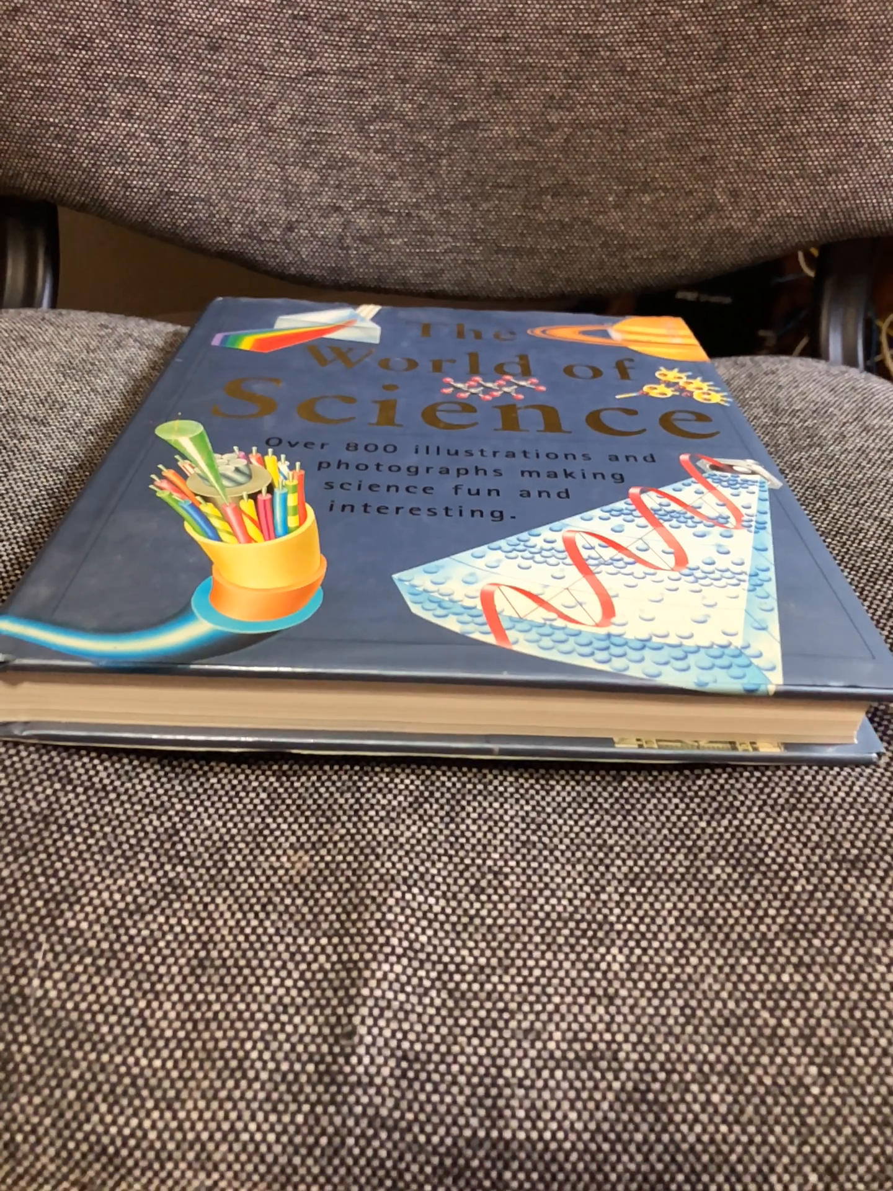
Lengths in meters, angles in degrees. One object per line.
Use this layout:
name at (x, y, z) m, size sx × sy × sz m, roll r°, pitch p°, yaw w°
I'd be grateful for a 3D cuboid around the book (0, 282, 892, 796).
book at (-0.003, -0.045, 0.342) m, size 0.220 × 0.030 × 0.277 m, roll 2°, pitch 34°, yaw -3°
